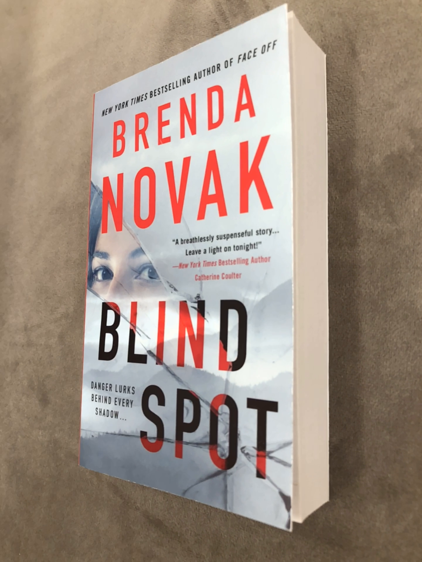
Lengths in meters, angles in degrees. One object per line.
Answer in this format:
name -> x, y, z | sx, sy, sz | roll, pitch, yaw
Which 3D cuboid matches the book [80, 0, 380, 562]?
book -> 0.003, -0.004, 0.204 | 0.121, 0.050, 0.190 | -4, 83, 41
